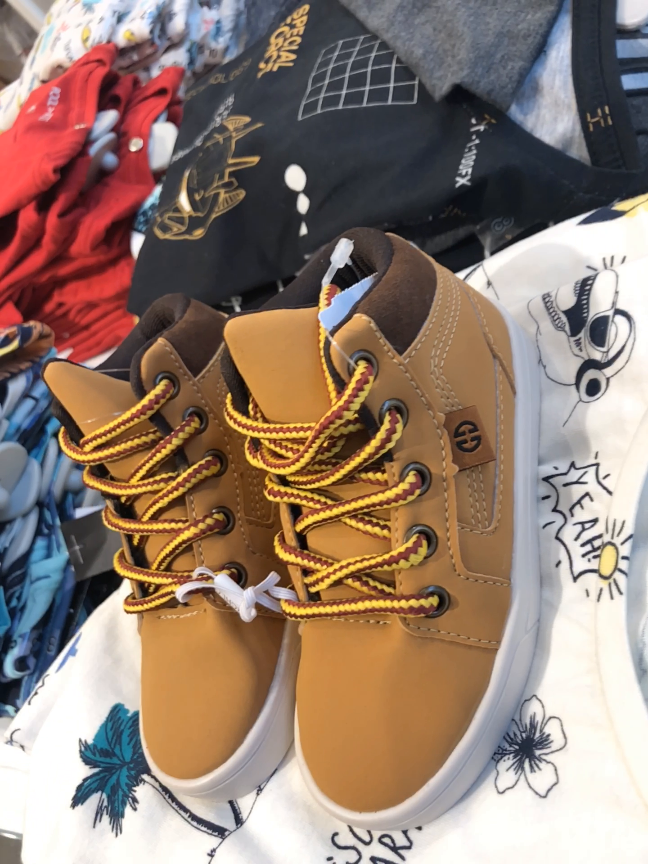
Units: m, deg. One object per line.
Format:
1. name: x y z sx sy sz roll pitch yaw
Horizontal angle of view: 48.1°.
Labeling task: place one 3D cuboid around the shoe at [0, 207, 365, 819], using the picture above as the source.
1. shoe: -0.044 0.028 0.244 0.070 0.089 0.171 -15 55 32

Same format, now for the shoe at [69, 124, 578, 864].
1. shoe: 0.015 0.017 0.209 0.070 0.089 0.170 -5 59 38
